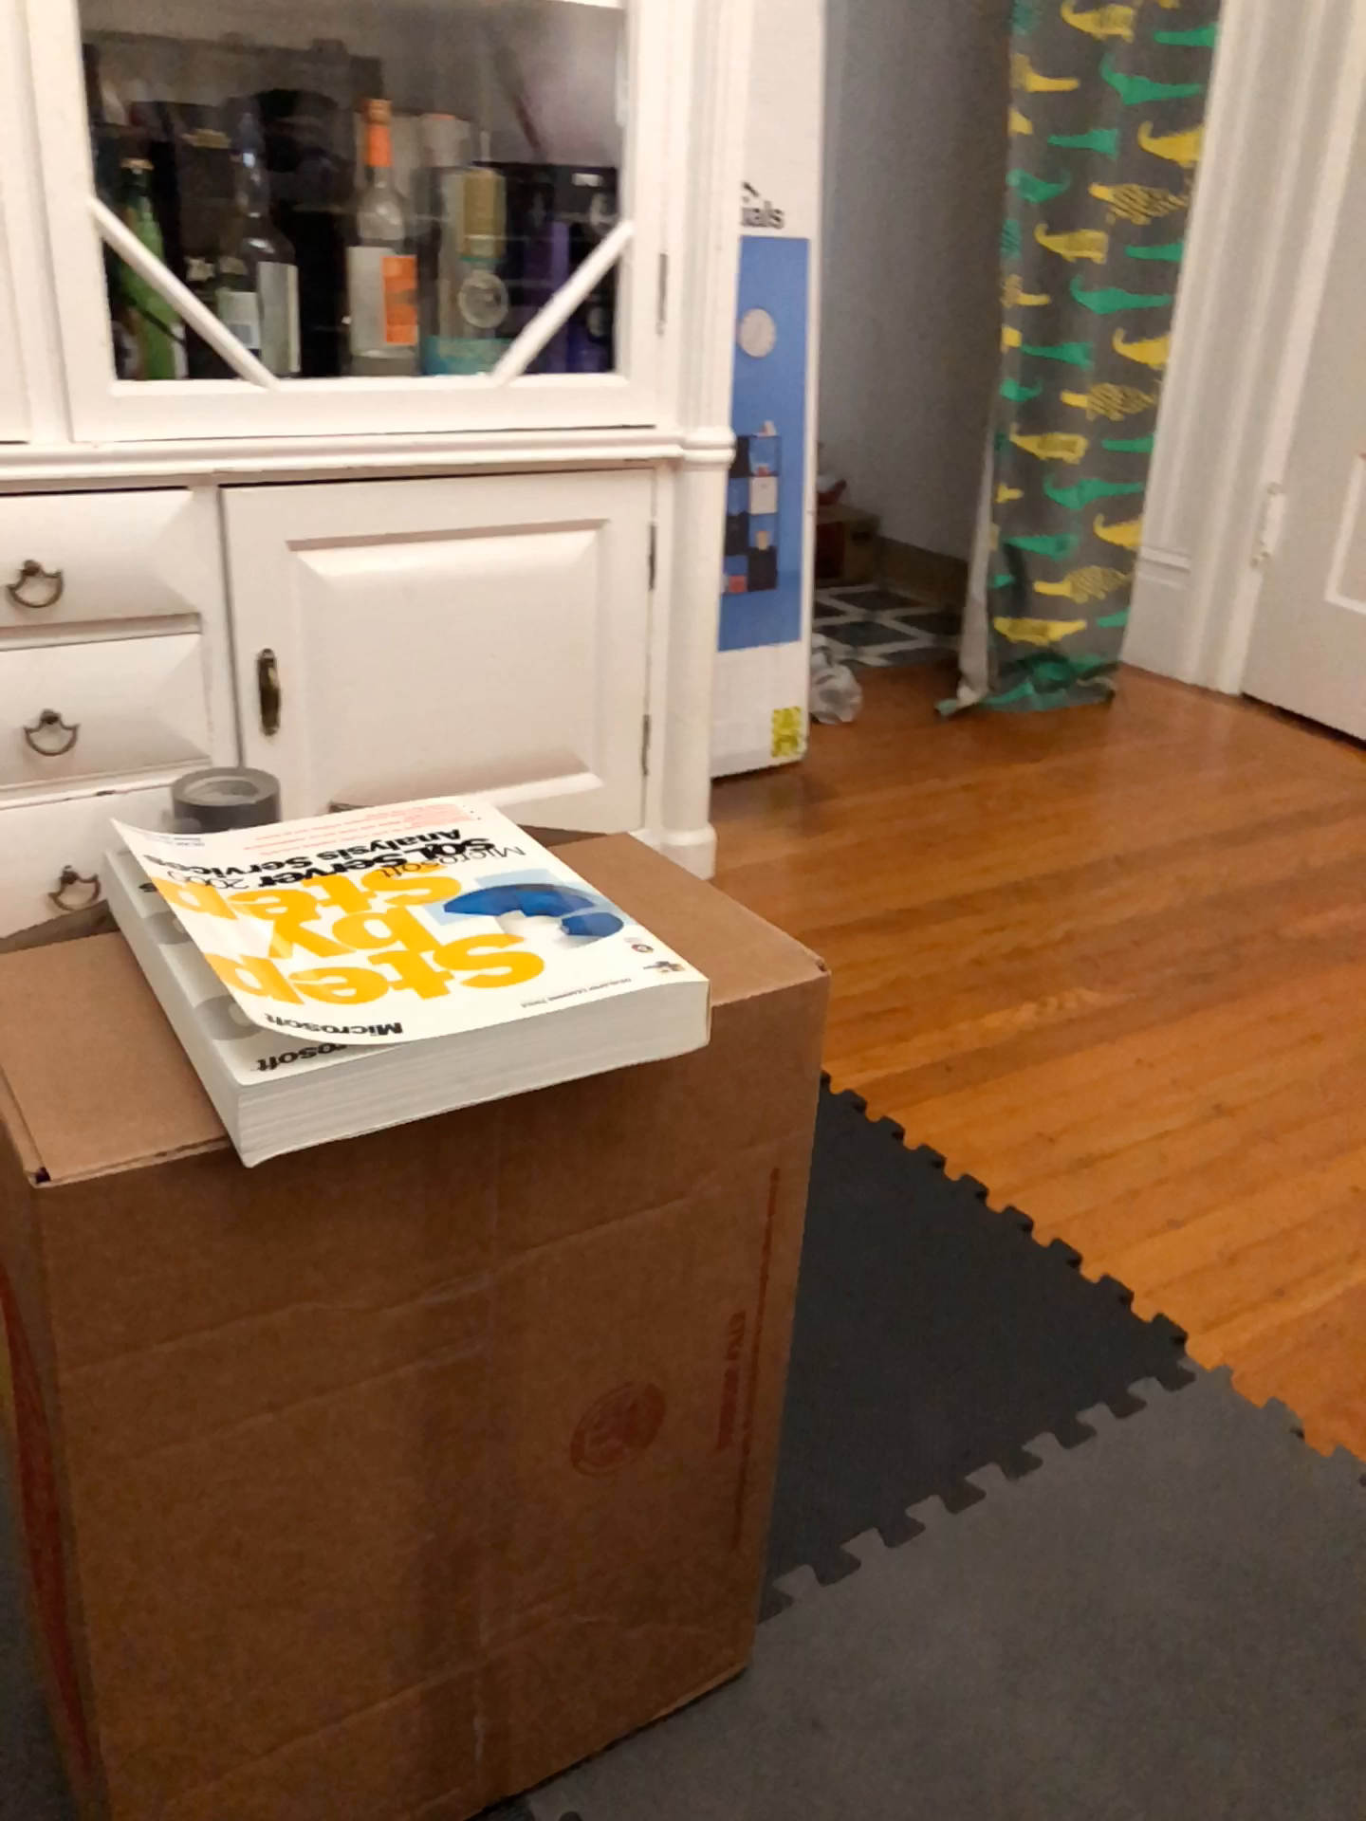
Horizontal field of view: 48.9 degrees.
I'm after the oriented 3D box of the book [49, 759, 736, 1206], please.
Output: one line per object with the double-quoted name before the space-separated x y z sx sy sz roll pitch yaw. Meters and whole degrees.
"book" -0.129 0.011 0.633 0.201 0.050 0.241 -16 29 -31
